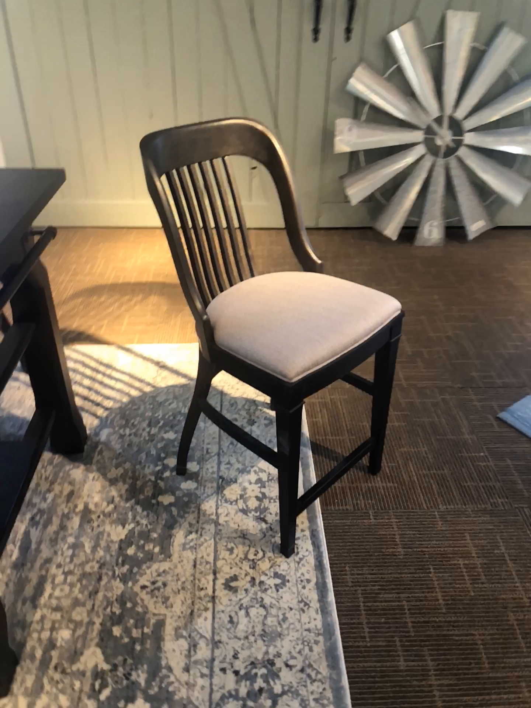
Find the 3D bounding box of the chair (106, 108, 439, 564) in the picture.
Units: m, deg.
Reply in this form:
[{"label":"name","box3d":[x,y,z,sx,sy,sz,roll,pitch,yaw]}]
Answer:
[{"label":"chair","box3d":[0.008,-0.065,1.567,0.571,0.985,0.482,25,40,32]}]
